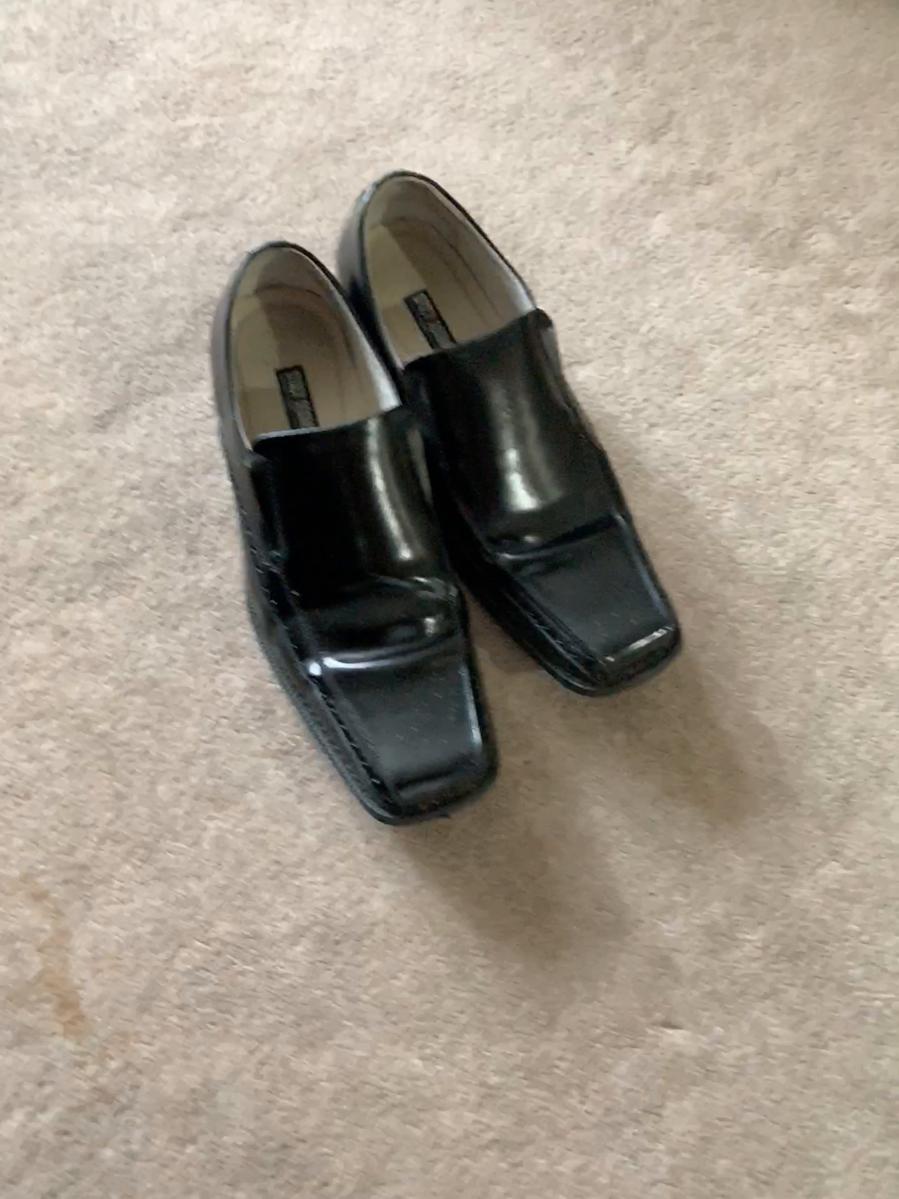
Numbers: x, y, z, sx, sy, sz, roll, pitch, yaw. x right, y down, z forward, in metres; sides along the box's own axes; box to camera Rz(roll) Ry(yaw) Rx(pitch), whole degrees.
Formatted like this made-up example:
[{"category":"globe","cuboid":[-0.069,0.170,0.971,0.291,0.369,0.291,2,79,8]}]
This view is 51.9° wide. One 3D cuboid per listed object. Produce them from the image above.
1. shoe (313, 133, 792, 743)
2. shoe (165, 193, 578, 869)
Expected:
[{"category":"shoe","cuboid":[0.040,-0.092,0.528,0.110,0.119,0.311,-24,74,-14]},{"category":"shoe","cuboid":[-0.051,-0.038,0.489,0.110,0.119,0.321,-15,72,-11]}]
